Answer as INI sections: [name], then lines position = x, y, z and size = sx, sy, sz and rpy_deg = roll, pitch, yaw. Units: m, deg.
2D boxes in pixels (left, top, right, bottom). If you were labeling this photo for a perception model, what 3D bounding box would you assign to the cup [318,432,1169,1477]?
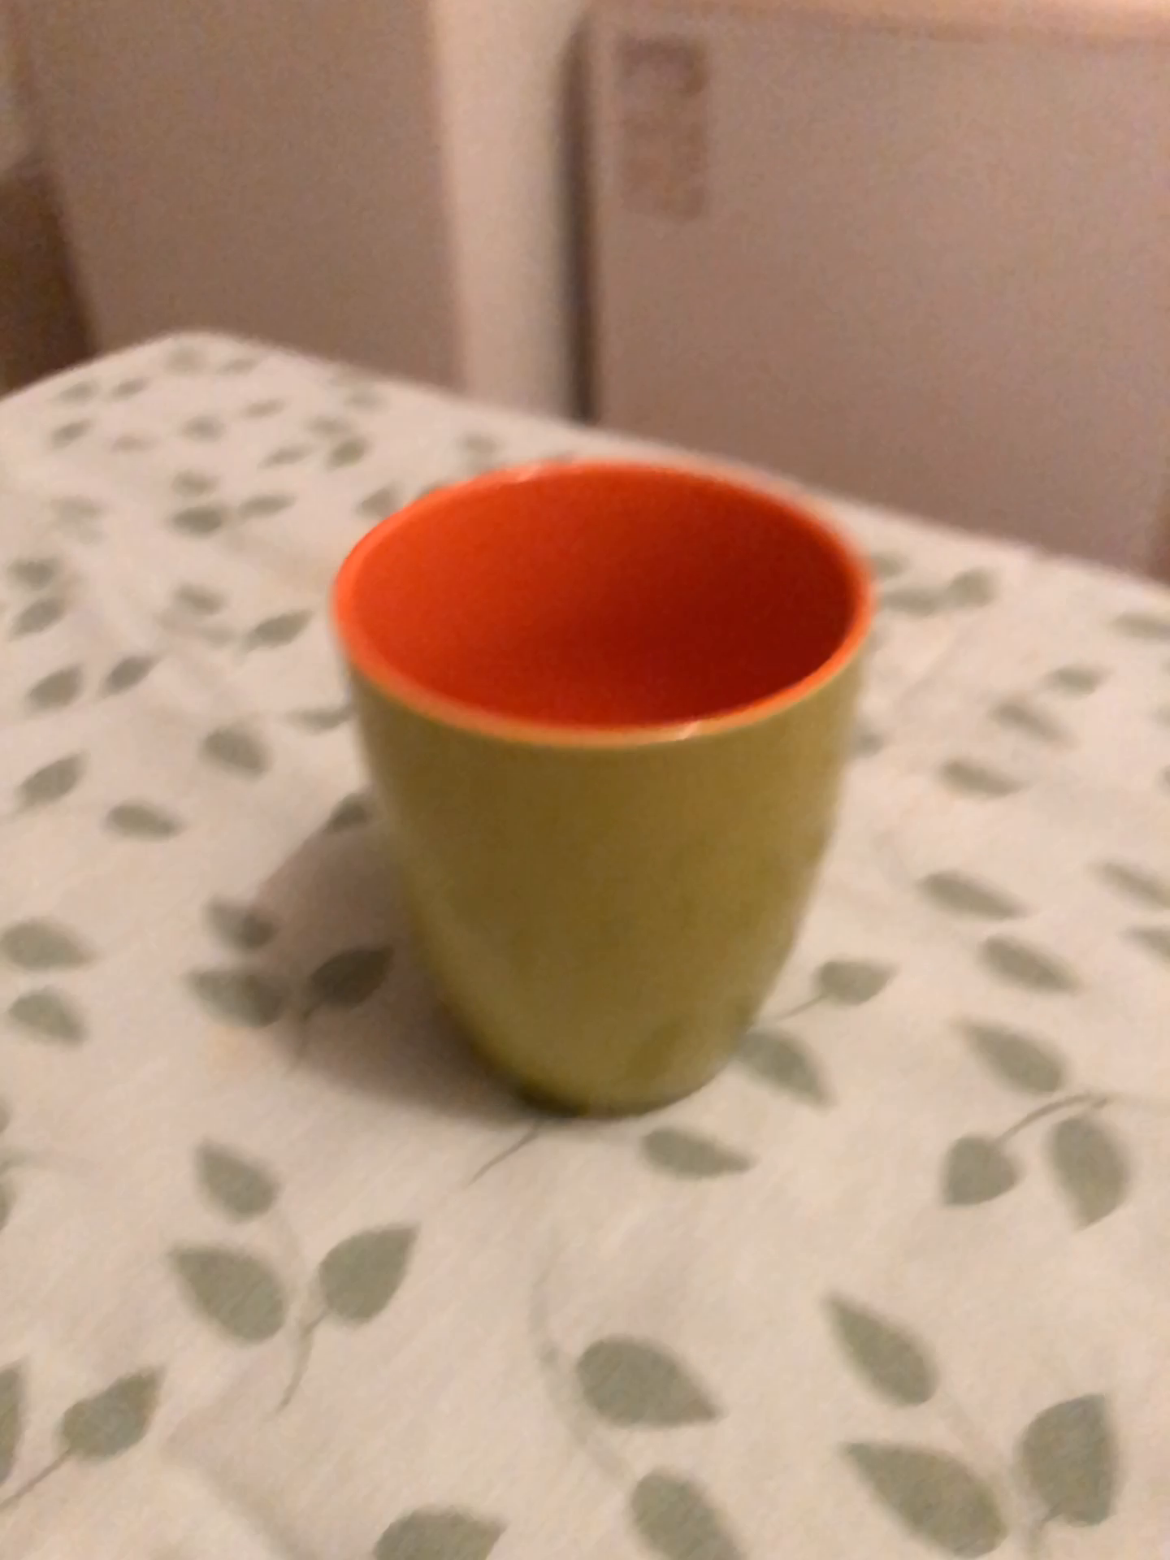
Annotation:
[cup]
position = 0.016, 0.017, 0.209
size = 0.090, 0.089, 0.121
rpy_deg = -11, 40, -12
